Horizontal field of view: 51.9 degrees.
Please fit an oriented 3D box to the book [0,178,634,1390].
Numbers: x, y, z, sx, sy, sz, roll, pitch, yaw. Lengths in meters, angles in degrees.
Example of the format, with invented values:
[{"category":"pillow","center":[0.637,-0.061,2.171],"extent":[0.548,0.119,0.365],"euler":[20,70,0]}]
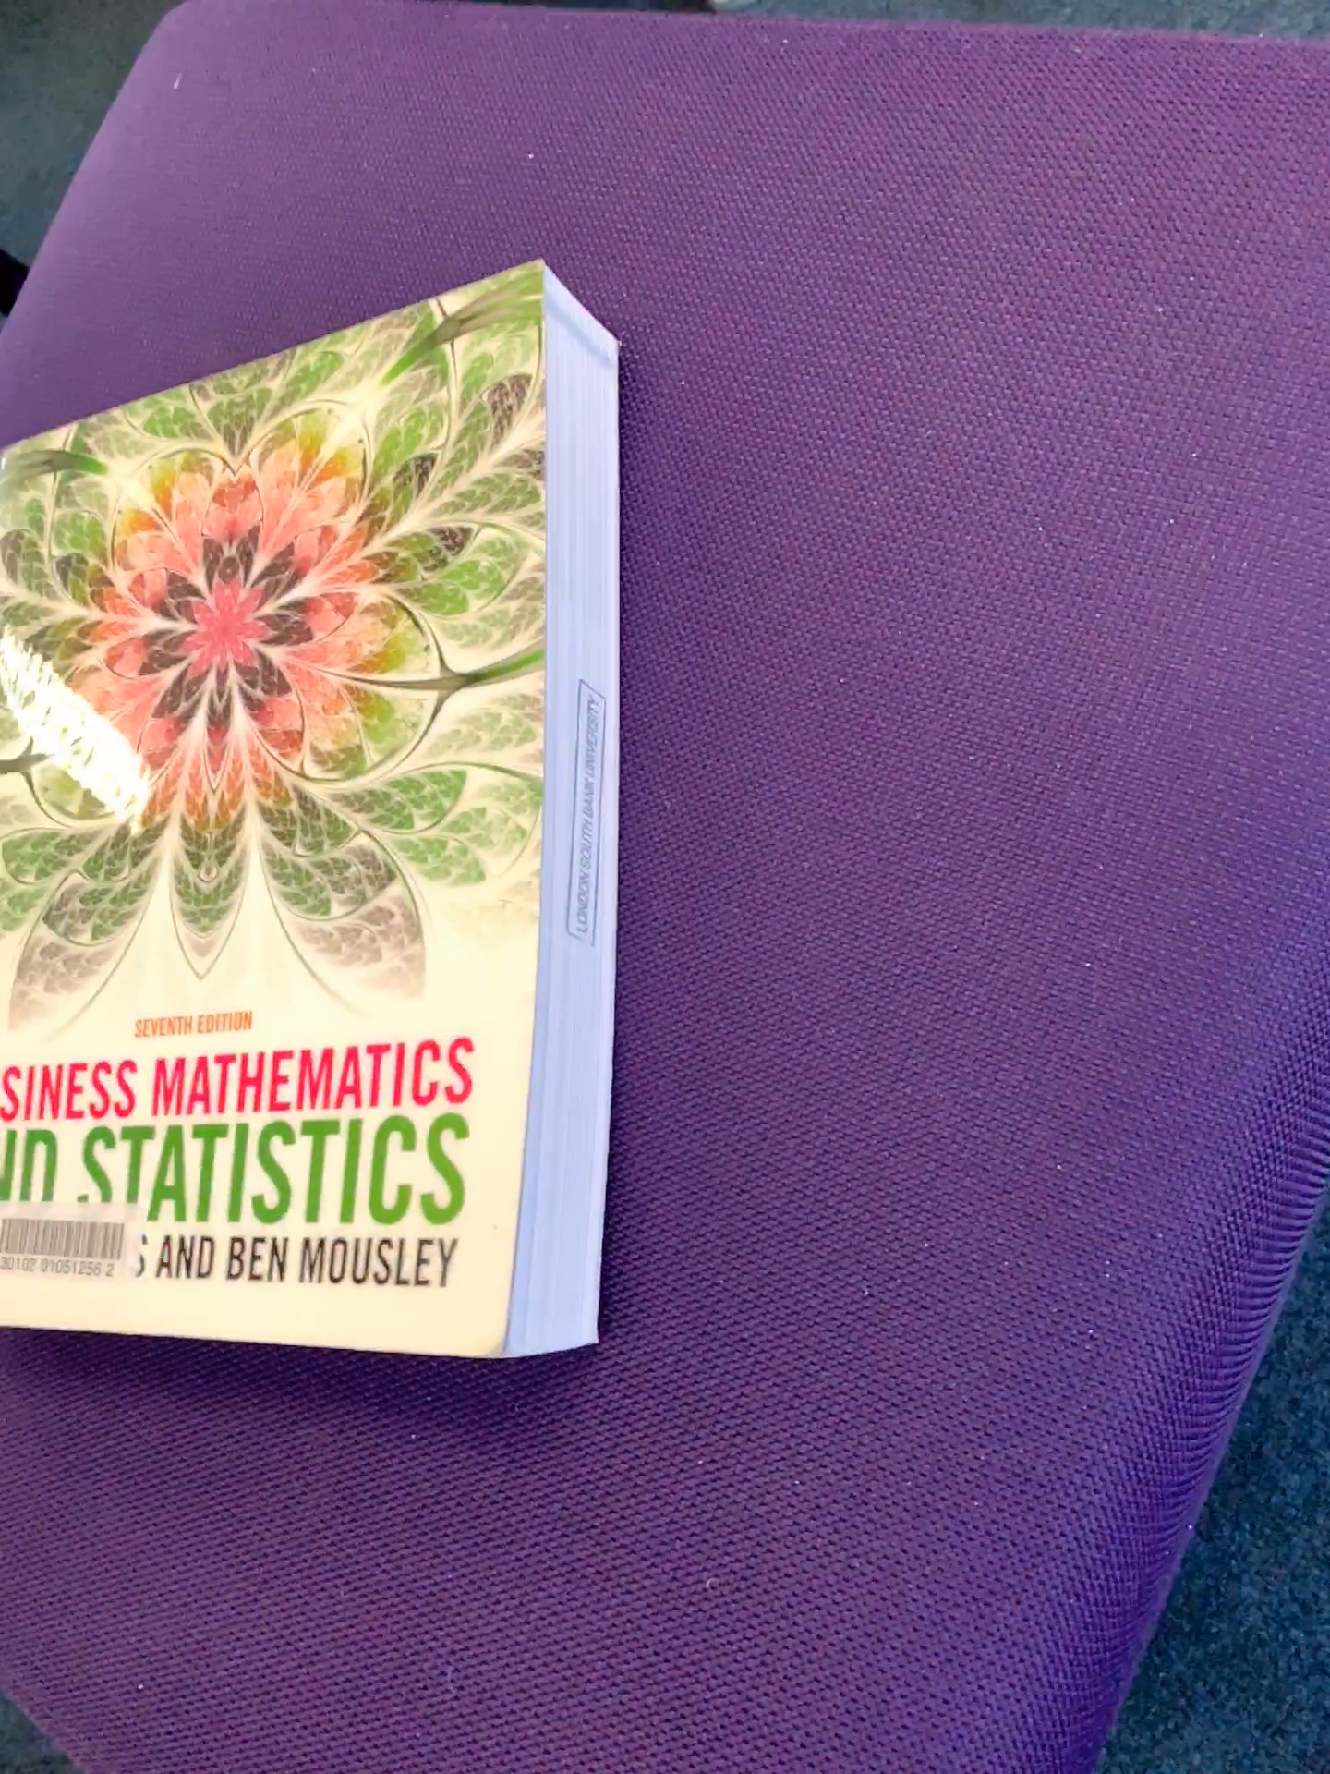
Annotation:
[{"category":"book","center":[-0.110,-0.020,0.344],"extent":[0.200,0.050,0.261],"euler":[-6,74,26]}]
